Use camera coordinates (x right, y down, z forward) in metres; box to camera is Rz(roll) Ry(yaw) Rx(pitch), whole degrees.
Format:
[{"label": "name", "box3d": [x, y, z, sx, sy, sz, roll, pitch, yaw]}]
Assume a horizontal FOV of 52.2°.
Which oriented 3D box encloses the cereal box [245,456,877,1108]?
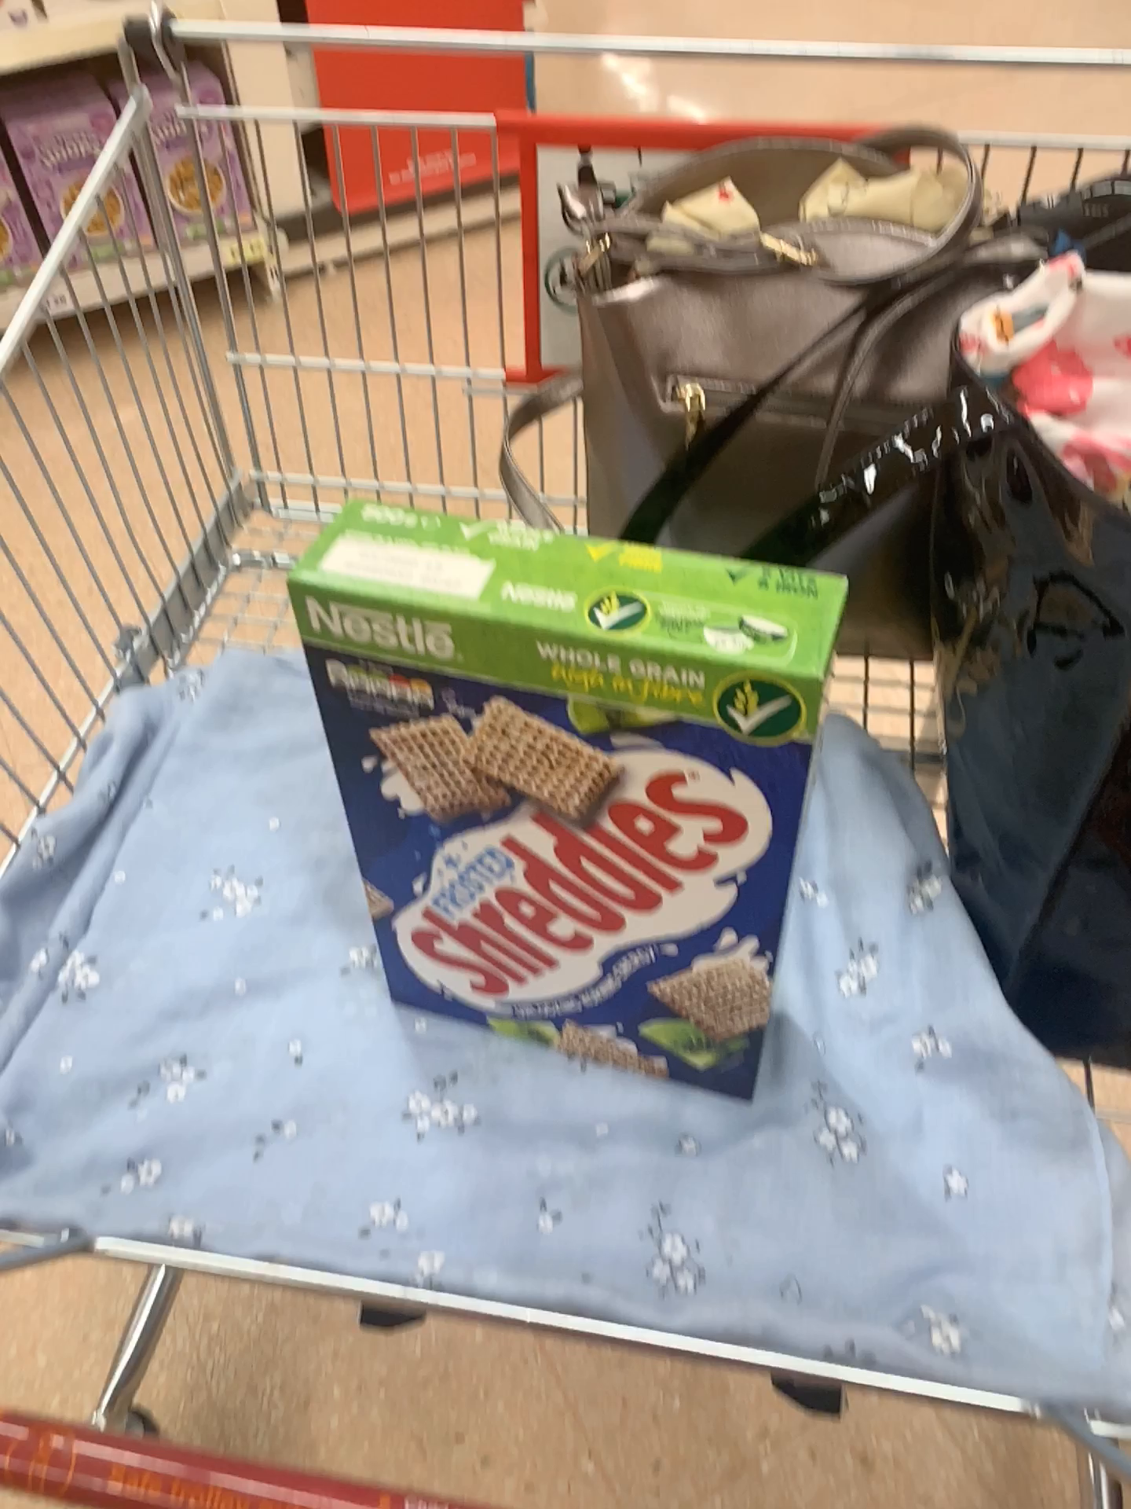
[{"label": "cereal box", "box3d": [0.000, 0.030, 0.488, 0.200, 0.287, 0.060, 12, 49, 12]}]
